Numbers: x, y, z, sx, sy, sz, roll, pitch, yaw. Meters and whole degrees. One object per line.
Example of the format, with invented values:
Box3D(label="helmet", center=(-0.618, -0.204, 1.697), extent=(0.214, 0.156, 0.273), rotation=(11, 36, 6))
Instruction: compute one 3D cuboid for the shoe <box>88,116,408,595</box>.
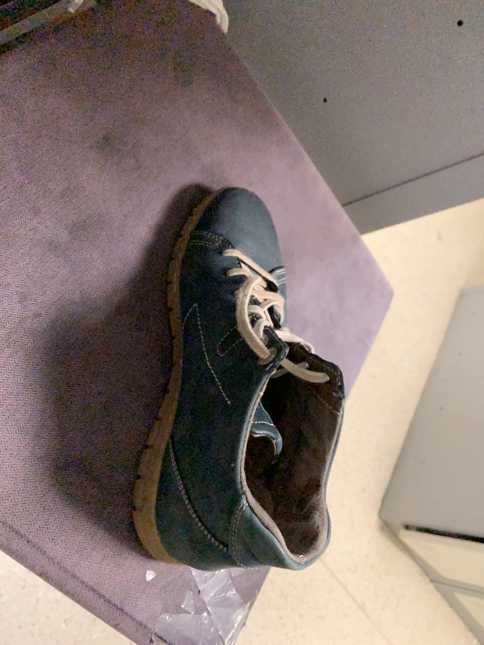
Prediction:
Box3D(label="shoe", center=(0.010, 0.024, 0.327), extent=(0.104, 0.142, 0.245), rotation=(25, 65, -37))
